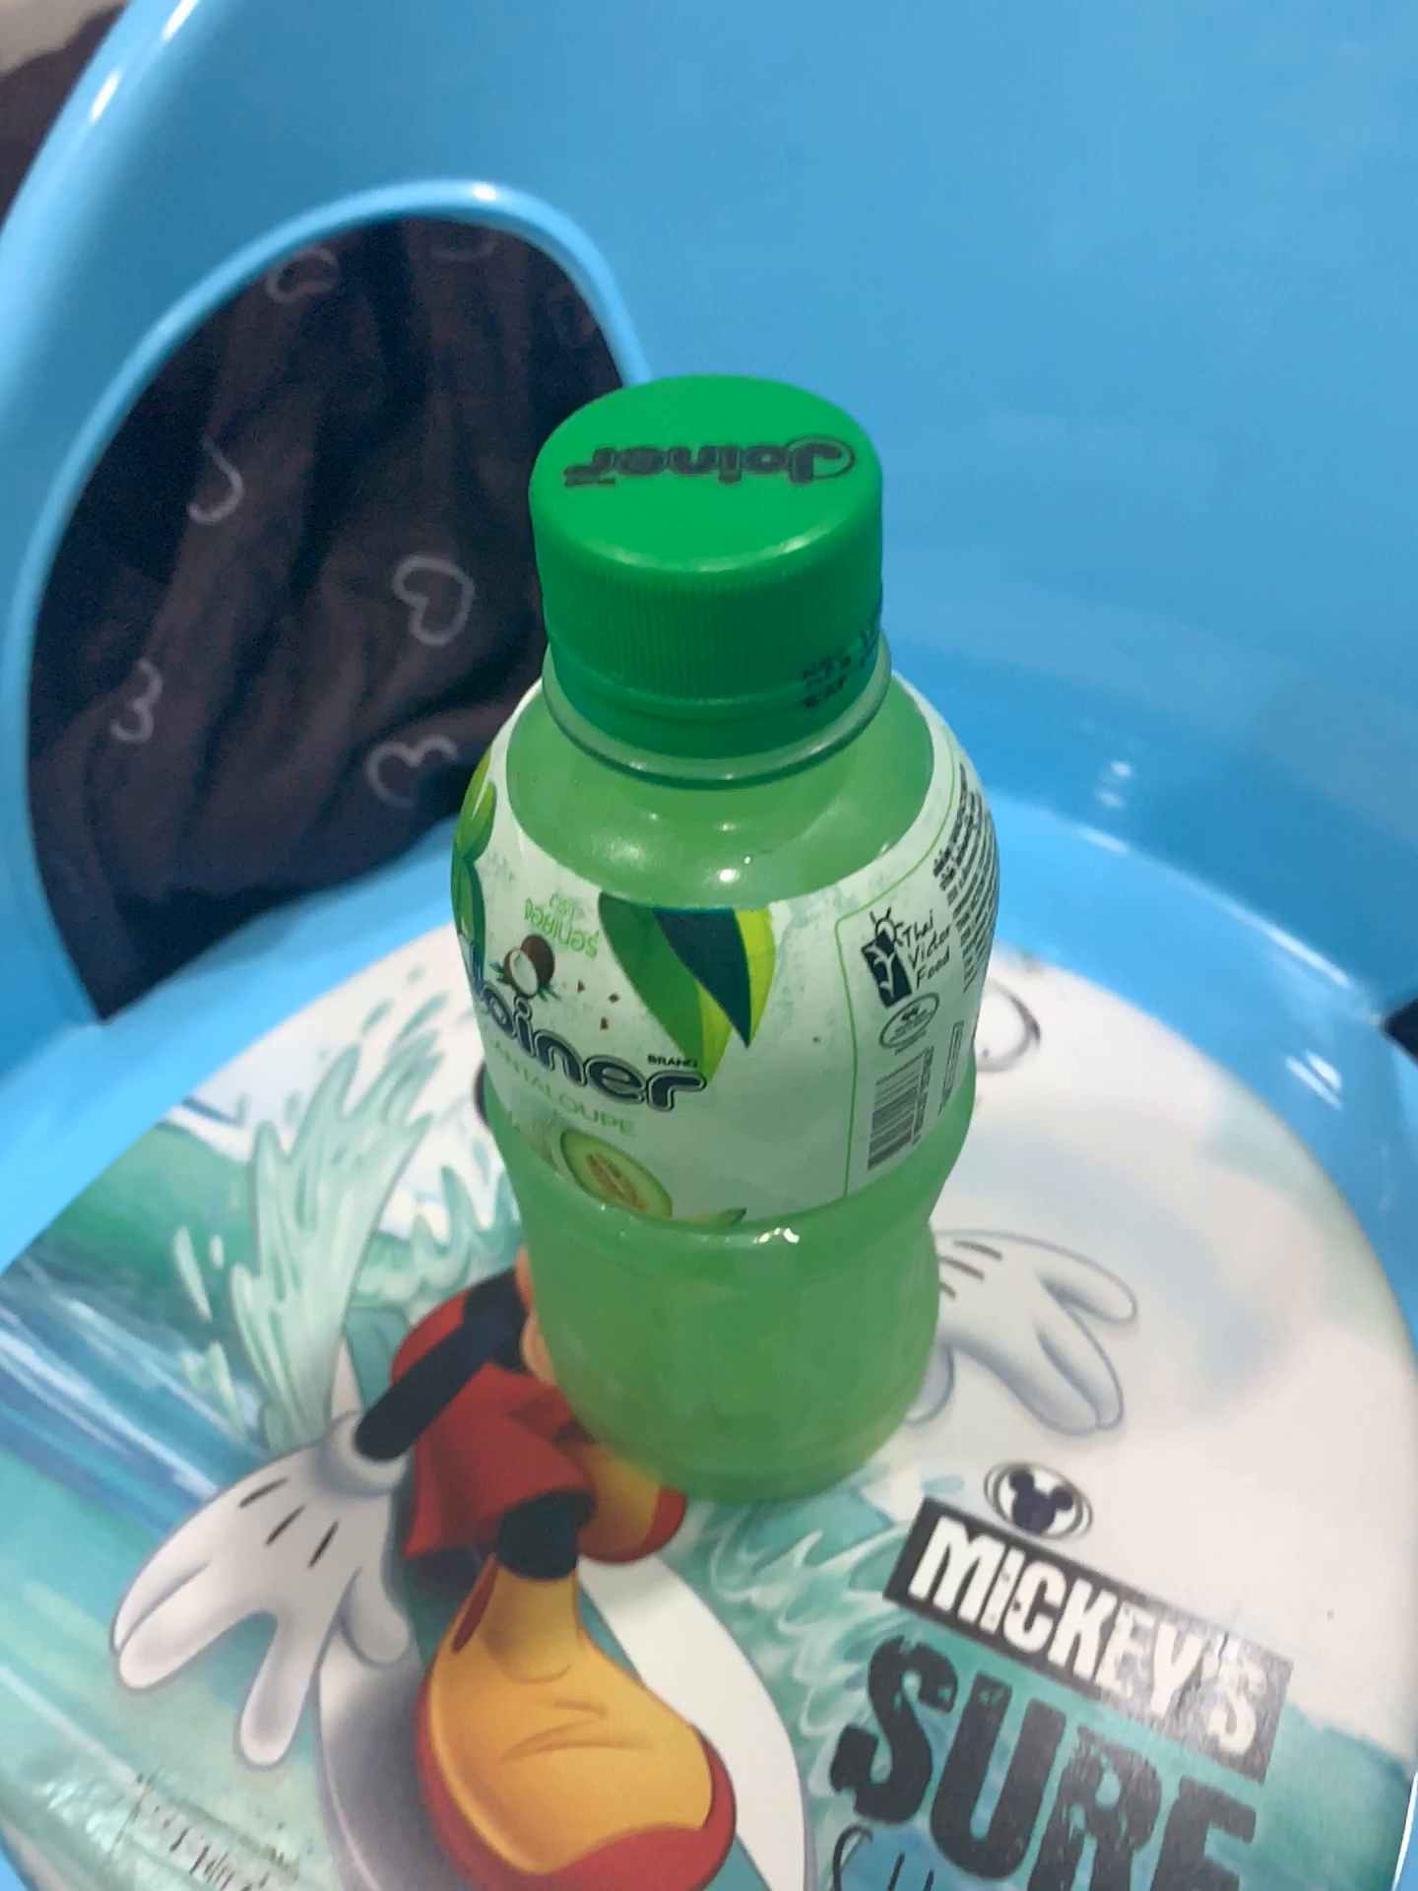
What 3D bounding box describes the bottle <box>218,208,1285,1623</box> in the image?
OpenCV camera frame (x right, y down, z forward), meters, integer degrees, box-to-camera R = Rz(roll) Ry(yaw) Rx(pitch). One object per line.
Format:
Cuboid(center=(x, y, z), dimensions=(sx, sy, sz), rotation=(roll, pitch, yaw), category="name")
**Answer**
Cuboid(center=(0.005, 0.007, 0.166), dimensions=(0.060, 0.139, 0.060), rotation=(0, 46, 0), category="bottle")
